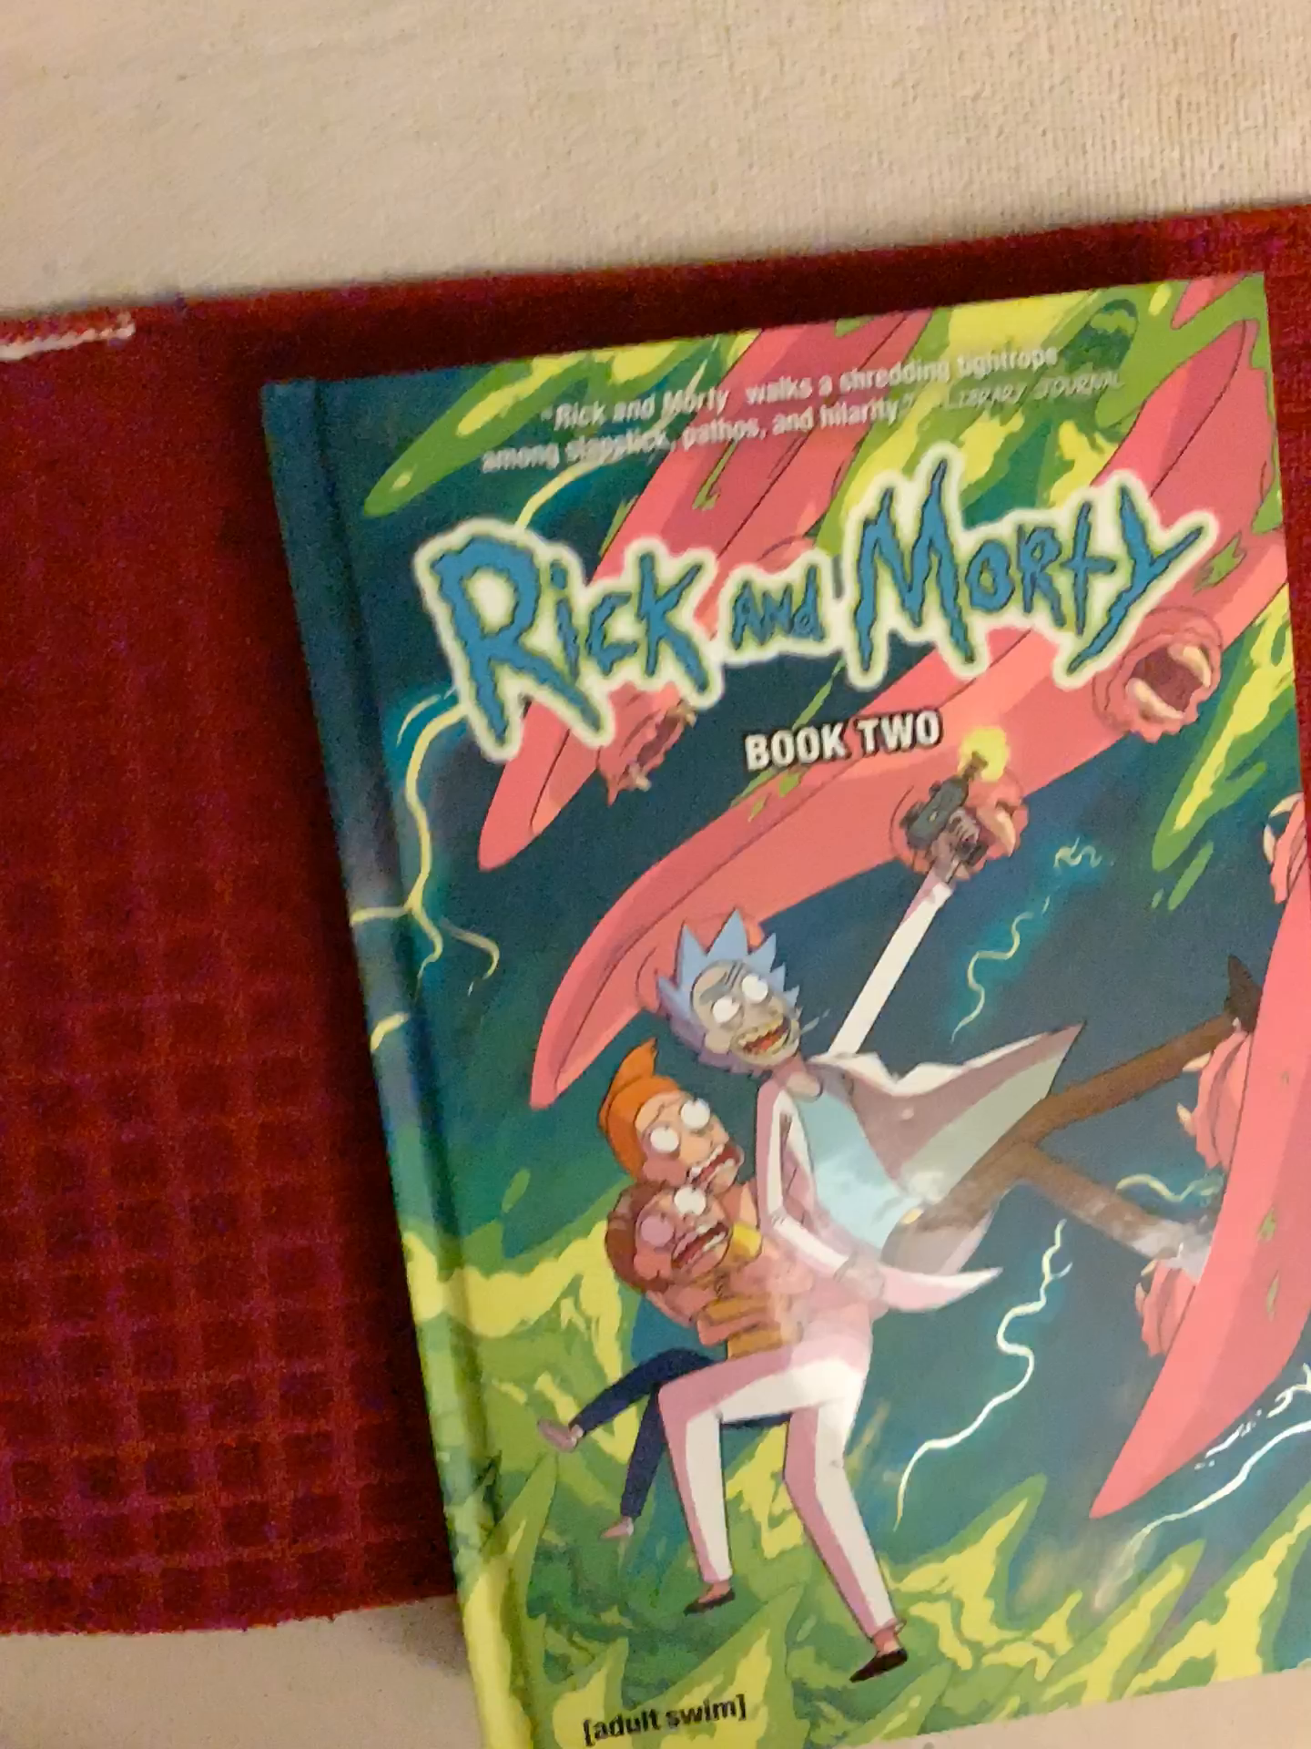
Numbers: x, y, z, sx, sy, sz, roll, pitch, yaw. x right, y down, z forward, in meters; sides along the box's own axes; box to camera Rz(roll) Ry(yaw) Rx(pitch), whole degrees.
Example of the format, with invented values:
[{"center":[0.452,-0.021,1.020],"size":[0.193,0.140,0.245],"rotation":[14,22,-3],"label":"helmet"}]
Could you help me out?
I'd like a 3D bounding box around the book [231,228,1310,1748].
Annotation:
[{"center":[0.036,0.031,0.320],"size":[0.200,0.030,0.300],"rotation":[-8,98,-3],"label":"book"}]
